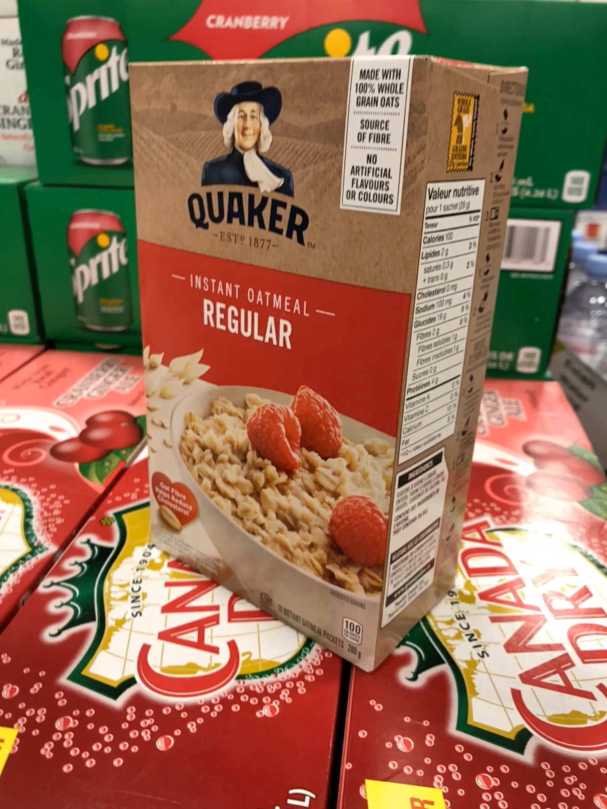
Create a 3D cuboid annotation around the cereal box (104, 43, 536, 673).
[{"bbox_3d":[-0.003,-0.024,0.268,0.130,0.199,0.070,18,26,33],"label":"cereal box"}]
